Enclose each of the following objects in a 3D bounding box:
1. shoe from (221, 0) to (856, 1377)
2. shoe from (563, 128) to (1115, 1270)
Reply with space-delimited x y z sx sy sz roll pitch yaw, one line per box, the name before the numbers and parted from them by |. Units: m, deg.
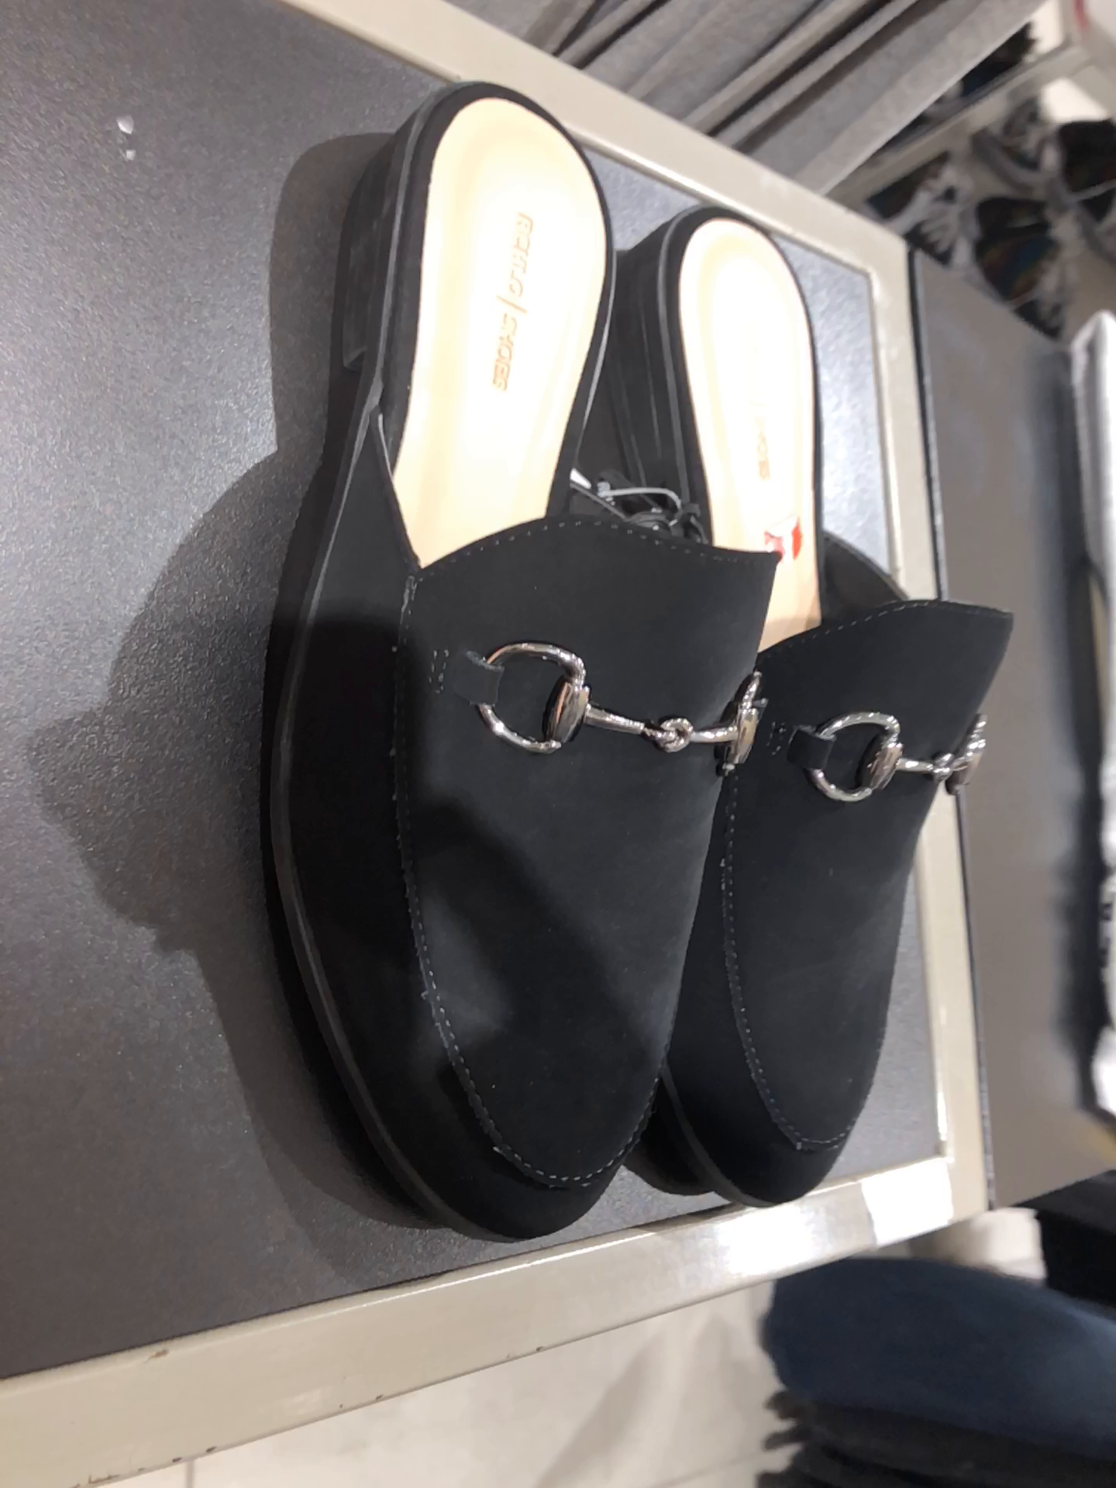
shoe | -0.003 -0.016 0.244 0.091 0.080 0.220 4 84 -38
shoe | 0.067 -0.009 0.291 0.091 0.070 0.220 1 81 -39
